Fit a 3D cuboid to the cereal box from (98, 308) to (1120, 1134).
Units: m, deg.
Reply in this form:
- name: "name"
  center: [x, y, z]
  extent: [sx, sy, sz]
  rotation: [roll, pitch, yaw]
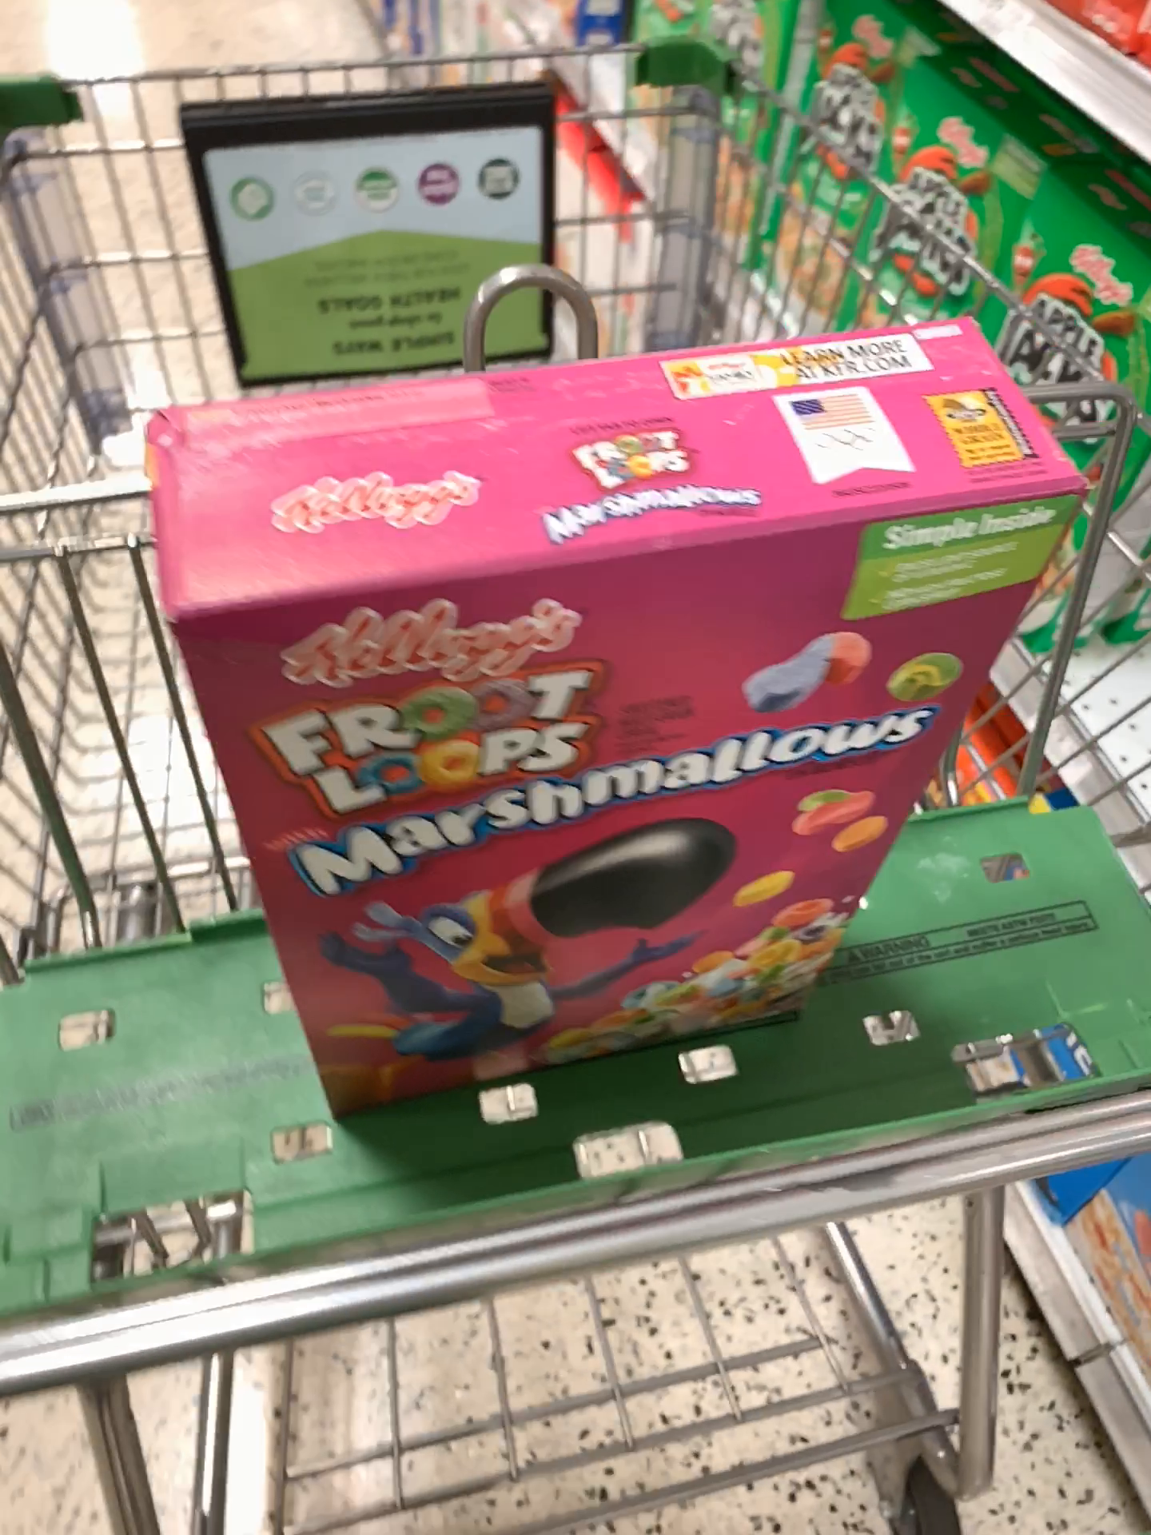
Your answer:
- name: "cereal box"
  center: [0.000, 0.015, 0.362]
  extent: [0.200, 0.287, 0.060]
  rotation: [-10, 57, -11]
